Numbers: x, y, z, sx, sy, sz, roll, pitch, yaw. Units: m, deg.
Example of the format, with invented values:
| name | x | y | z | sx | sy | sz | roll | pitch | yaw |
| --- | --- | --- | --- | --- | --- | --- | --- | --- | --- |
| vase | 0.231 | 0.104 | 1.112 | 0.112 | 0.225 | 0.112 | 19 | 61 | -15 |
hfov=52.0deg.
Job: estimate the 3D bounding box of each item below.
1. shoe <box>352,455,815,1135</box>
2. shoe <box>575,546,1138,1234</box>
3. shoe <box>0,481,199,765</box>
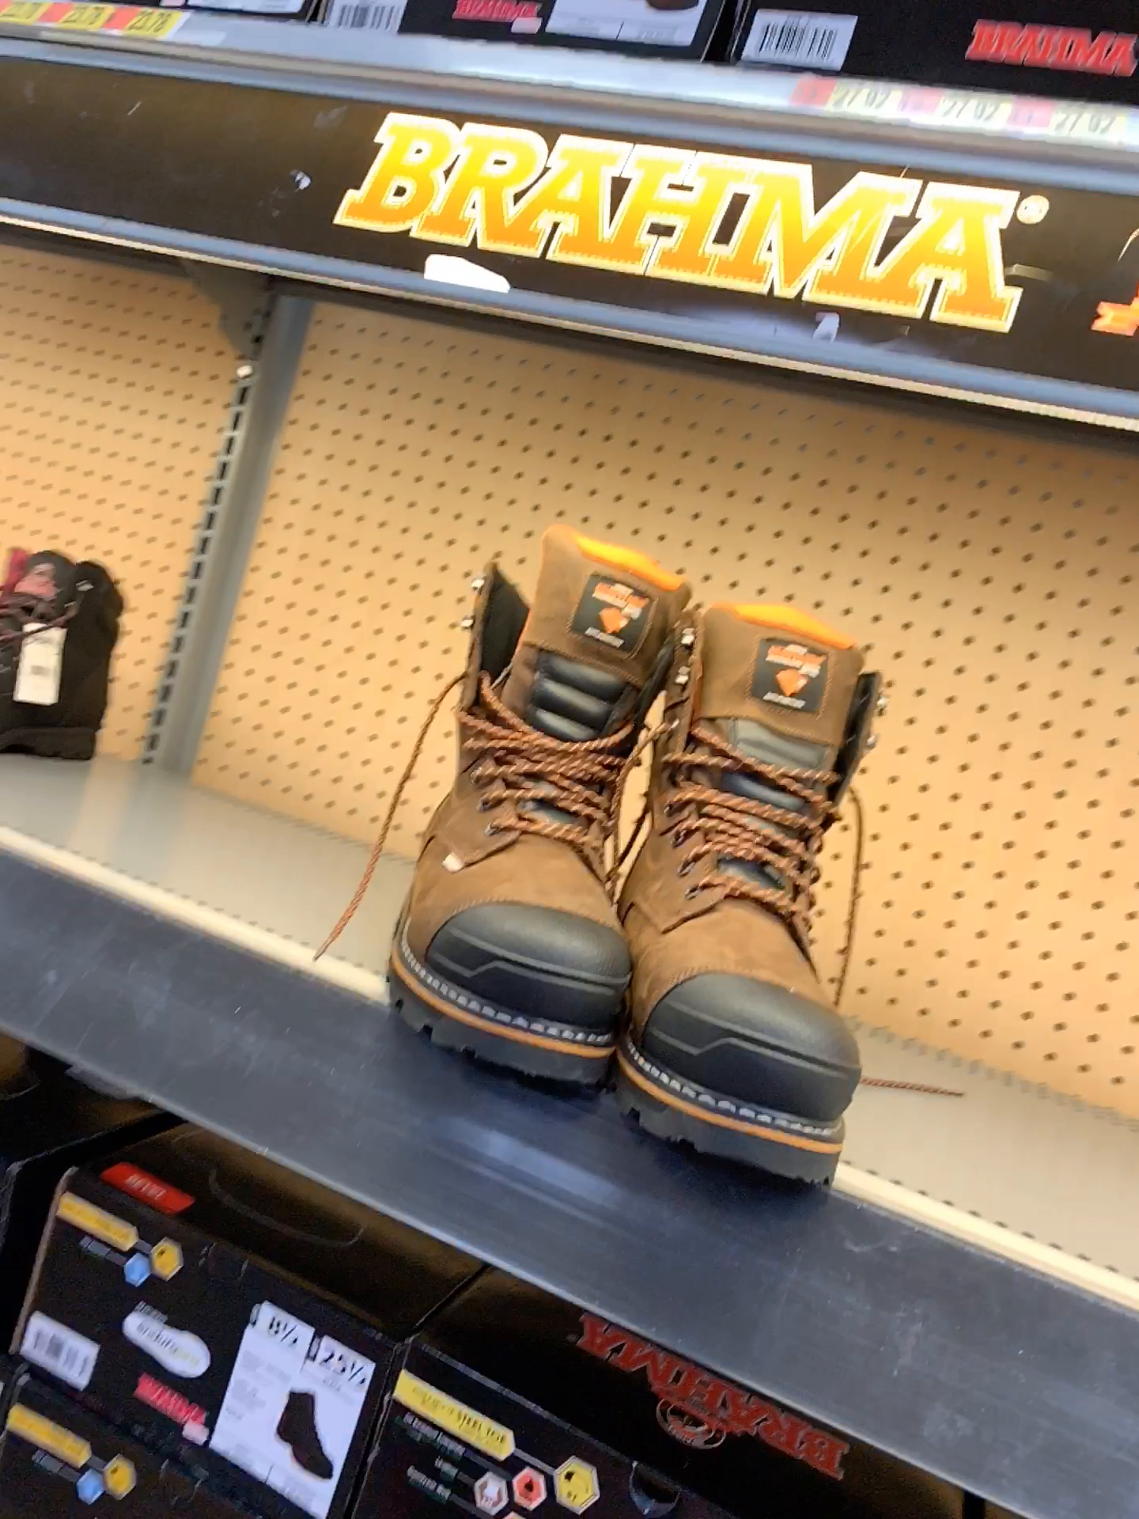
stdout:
| name | x | y | z | sx | sy | sz | roll | pitch | yaw |
| --- | --- | --- | --- | --- | --- | --- | --- | --- | --- |
| shoe | -0.004 | 0.004 | 0.677 | 0.136 | 0.280 | 0.313 | 16 | 4 | -5 |
| shoe | 0.118 | 0.041 | 0.635 | 0.134 | 0.260 | 0.318 | 15 | 4 | -7 |
| shoe | -0.466 | -0.100 | 0.960 | 0.146 | 0.170 | 0.258 | 17 | 5 | 20 |
